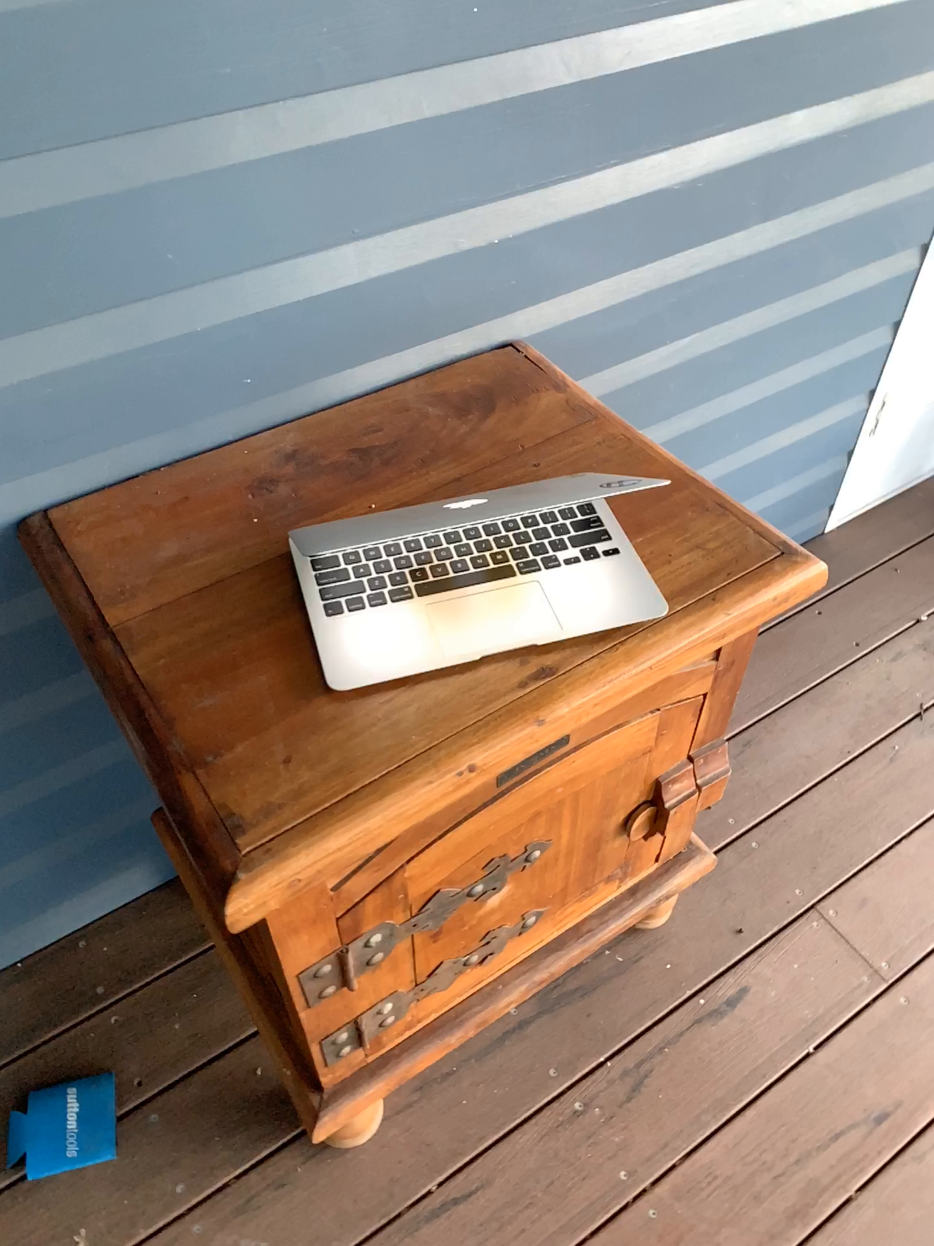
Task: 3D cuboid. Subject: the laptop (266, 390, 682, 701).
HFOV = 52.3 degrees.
[{"bbox_3d":[-0.001,-0.071,0.773,0.282,0.099,0.180,-13,50,-12],"label":"laptop"}]
